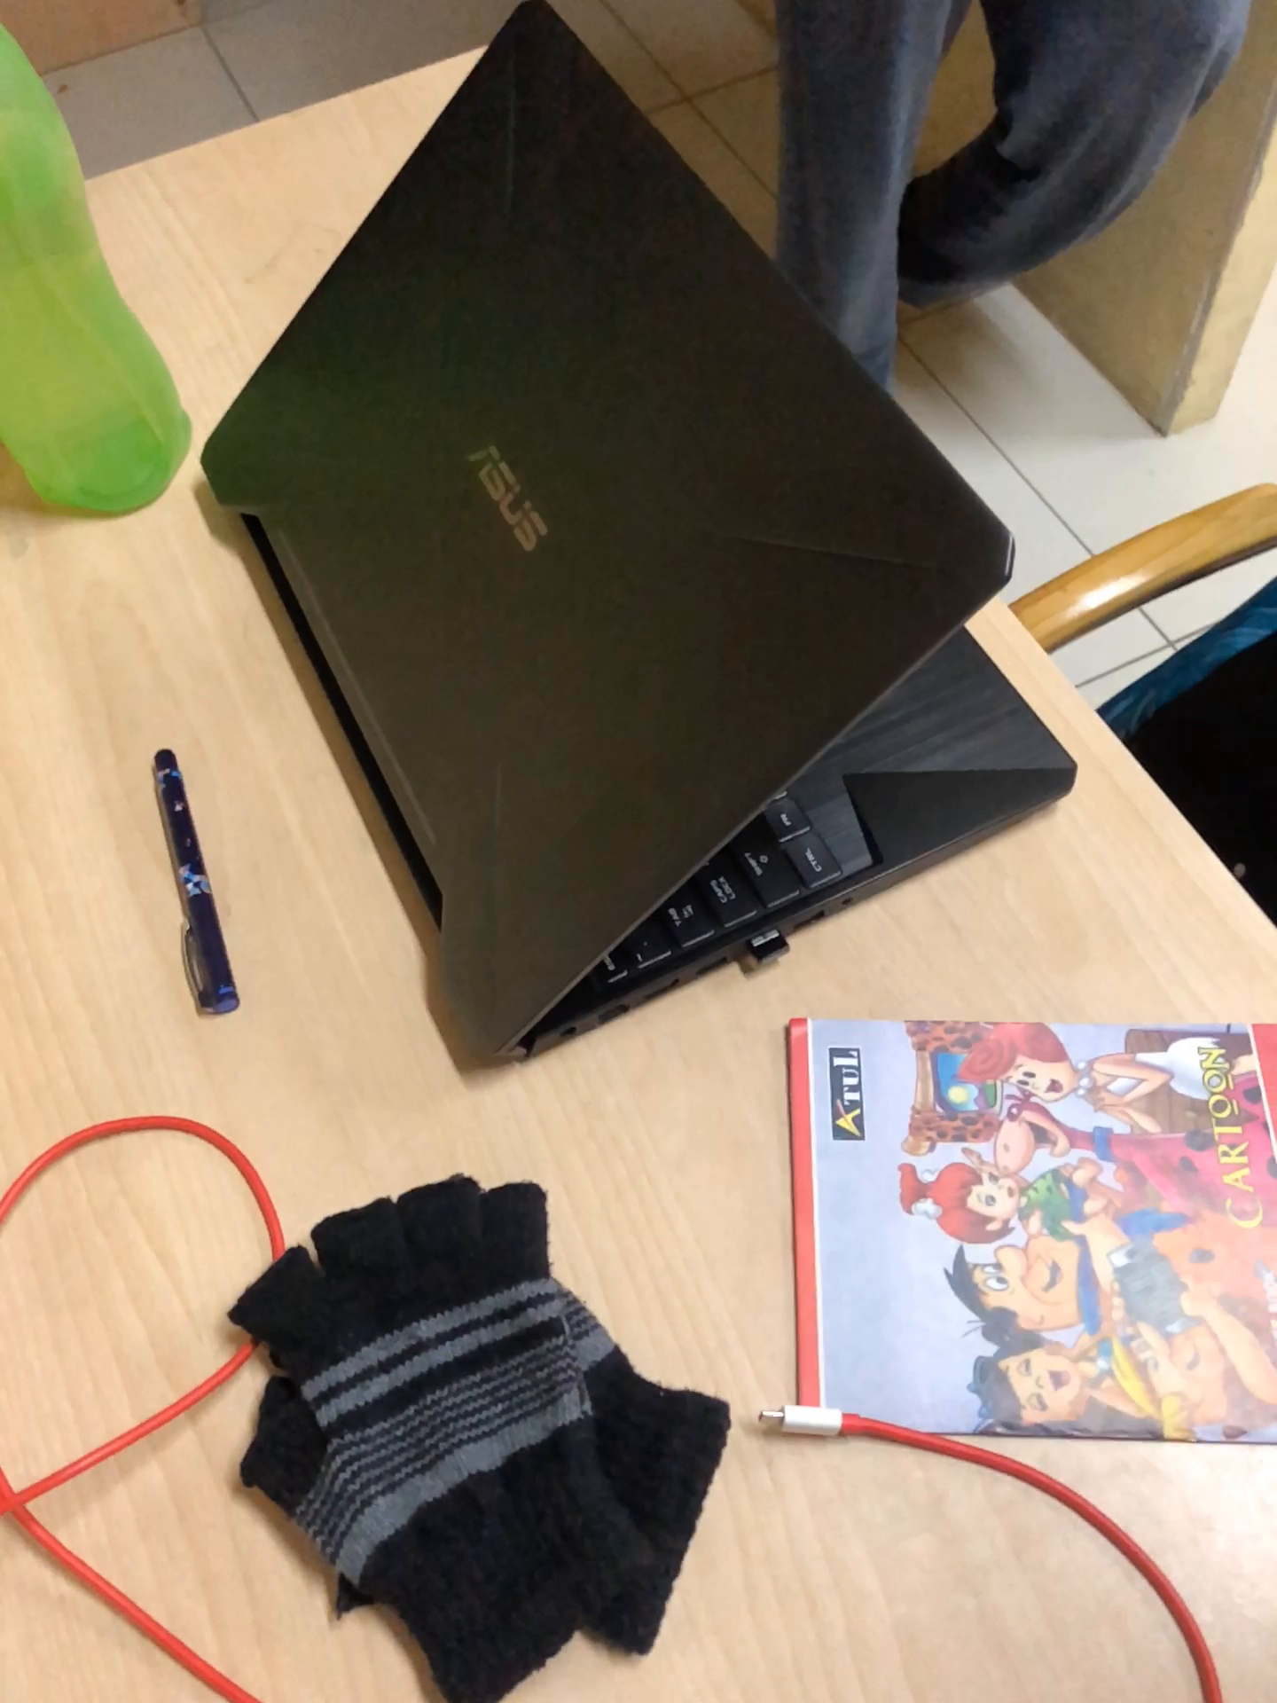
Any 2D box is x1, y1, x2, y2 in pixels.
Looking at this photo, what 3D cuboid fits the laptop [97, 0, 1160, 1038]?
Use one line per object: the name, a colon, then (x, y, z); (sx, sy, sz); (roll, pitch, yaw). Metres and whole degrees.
laptop: (-0.018, -0.149, 0.554); (0.248, 0.147, 0.340); (-24, 61, -13)
